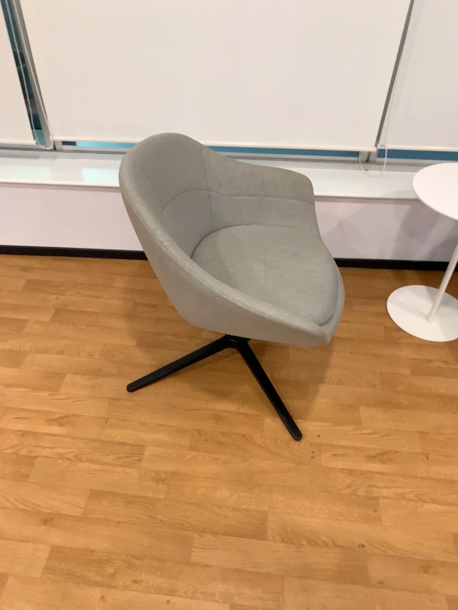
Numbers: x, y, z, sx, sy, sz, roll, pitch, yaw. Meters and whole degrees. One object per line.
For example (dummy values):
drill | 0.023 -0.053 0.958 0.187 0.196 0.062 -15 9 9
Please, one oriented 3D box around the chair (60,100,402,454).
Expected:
chair | 0.023 -0.090 1.428 0.680 0.754 0.675 6 43 4
